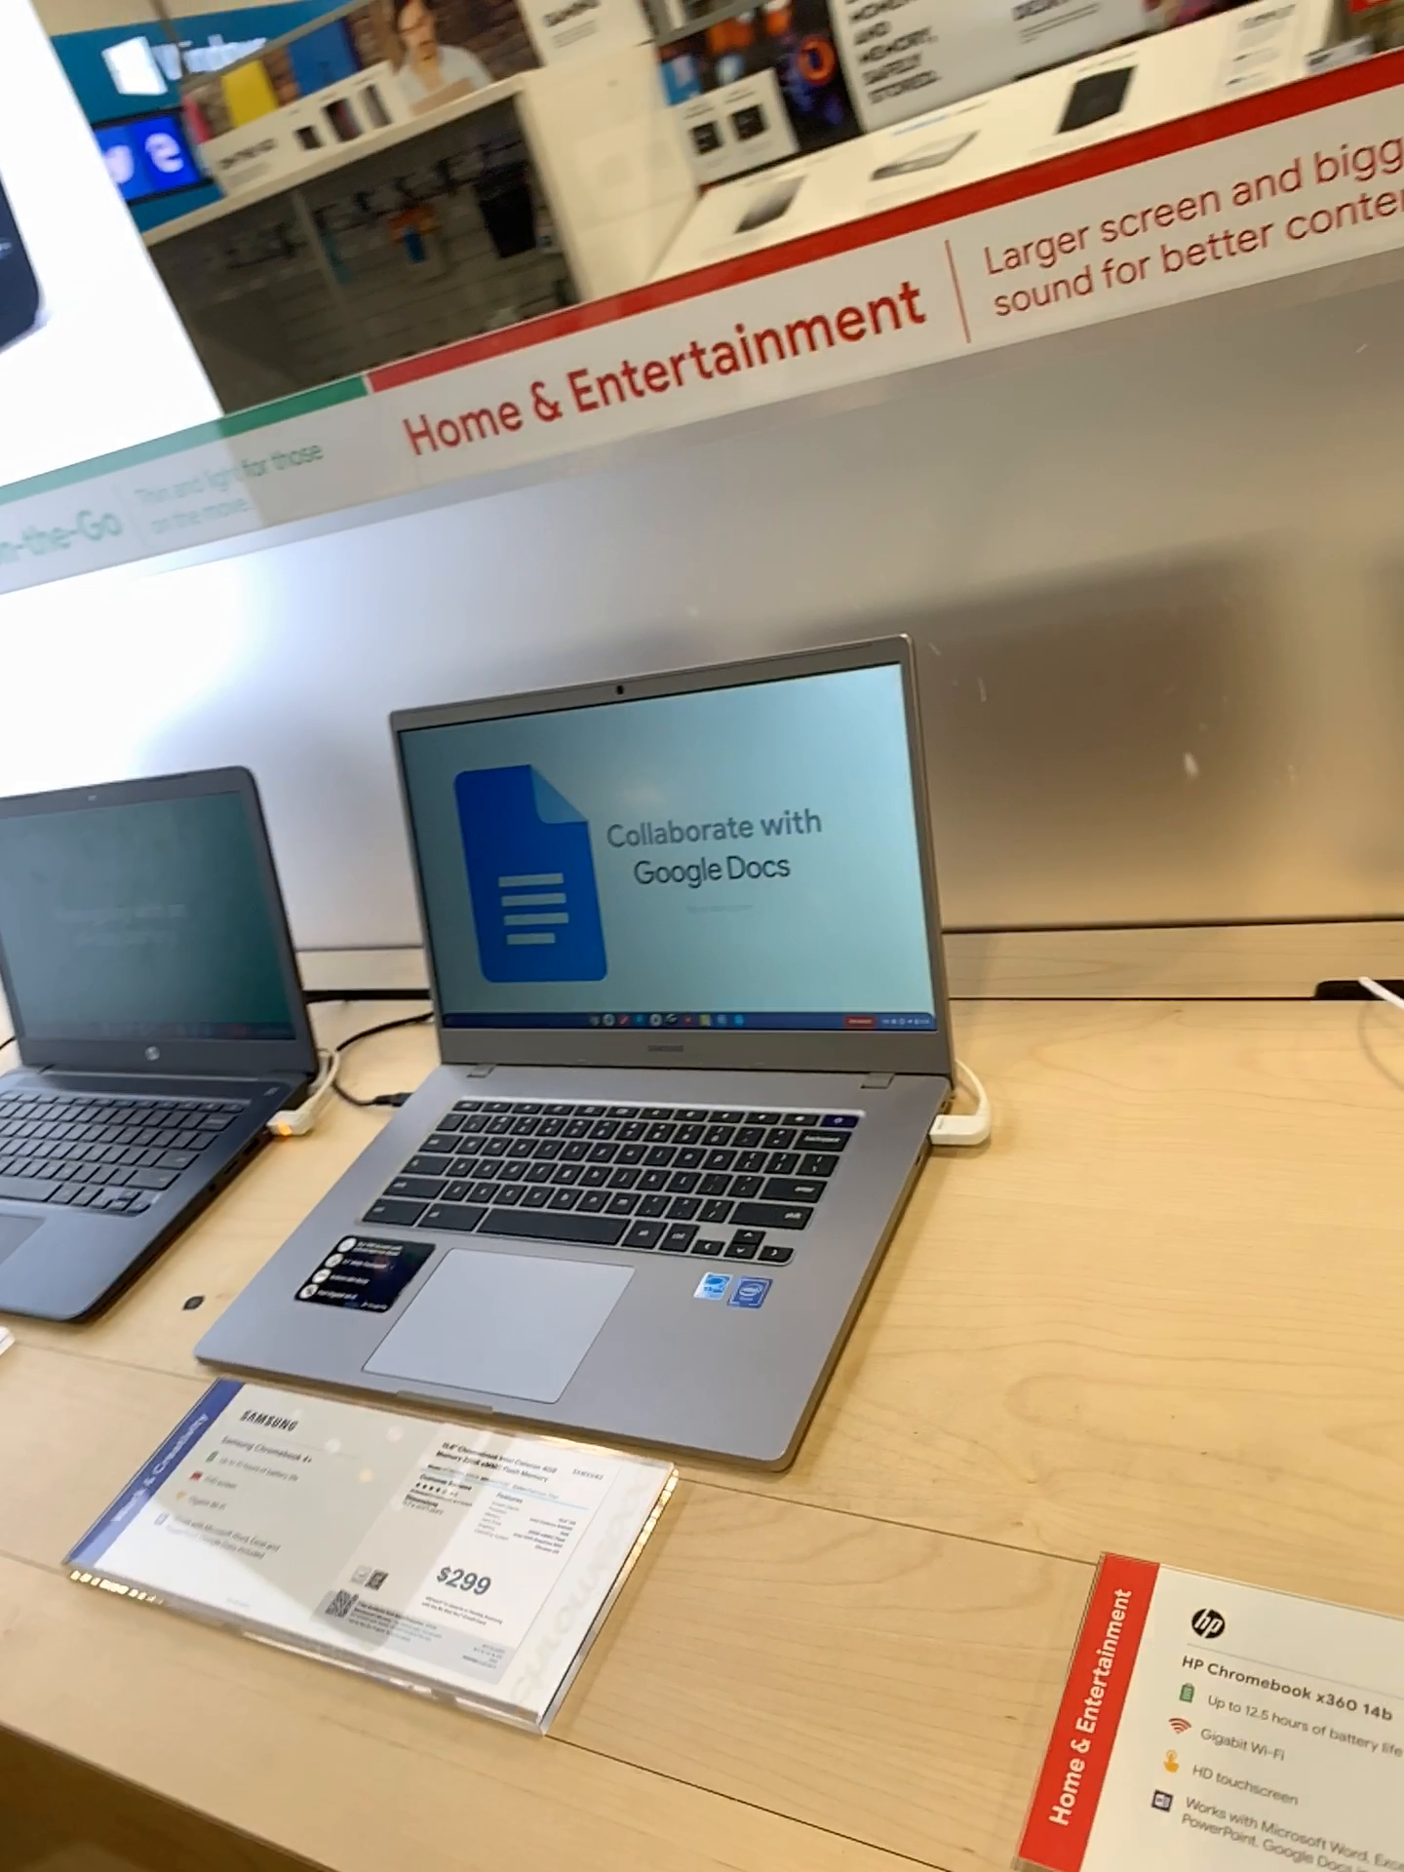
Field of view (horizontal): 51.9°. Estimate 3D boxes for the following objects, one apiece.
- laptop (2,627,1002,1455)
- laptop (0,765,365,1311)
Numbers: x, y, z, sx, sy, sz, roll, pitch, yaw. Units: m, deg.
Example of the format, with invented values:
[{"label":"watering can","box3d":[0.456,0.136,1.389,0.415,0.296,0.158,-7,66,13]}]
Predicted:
[{"label":"laptop","box3d":[-0.078,0.033,0.729,0.341,0.200,0.325,-2,33,32]},{"label":"laptop","box3d":[-0.448,0.053,0.942,0.301,0.191,0.288,-3,32,31]}]
